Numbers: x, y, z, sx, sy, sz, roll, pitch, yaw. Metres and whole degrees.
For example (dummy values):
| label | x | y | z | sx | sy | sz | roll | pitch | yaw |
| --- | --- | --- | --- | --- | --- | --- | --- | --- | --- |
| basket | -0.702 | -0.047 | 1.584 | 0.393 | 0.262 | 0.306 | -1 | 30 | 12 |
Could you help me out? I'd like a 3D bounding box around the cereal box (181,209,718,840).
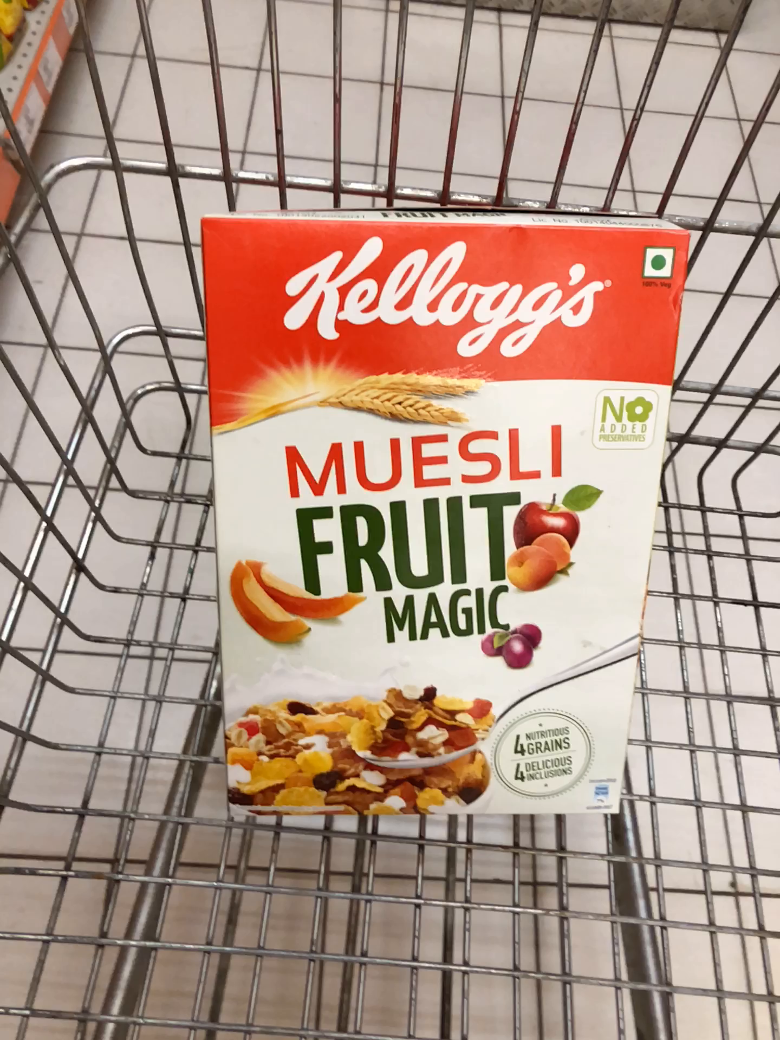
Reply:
| label | x | y | z | sx | sy | sz | roll | pitch | yaw |
| --- | --- | --- | --- | --- | --- | --- | --- | --- | --- |
| cereal box | 0.016 | 0.005 | 0.397 | 0.200 | 0.269 | 0.080 | 1 | 18 | -5 |
